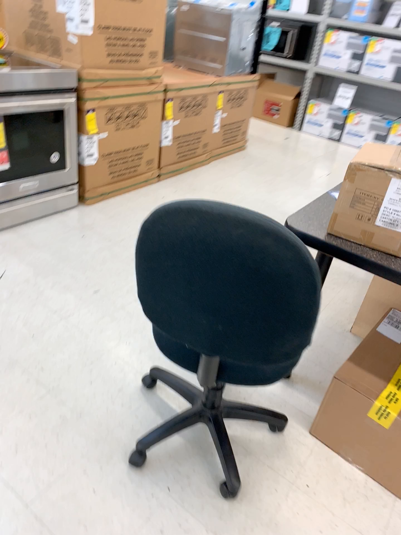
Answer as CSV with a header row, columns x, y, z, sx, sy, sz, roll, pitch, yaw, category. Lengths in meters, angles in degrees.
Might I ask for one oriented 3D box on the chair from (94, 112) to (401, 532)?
x,y,z,sx,sy,sz,roll,pitch,yaw,category
0.105,0.135,1.239,0.600,0.965,0.603,16,32,12,chair
